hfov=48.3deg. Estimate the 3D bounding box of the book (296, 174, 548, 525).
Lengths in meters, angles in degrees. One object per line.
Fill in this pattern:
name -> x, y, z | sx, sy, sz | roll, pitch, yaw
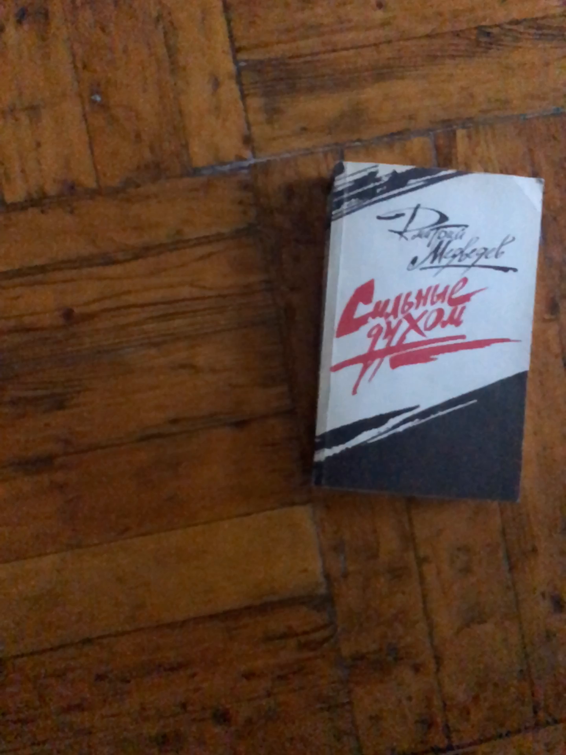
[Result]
book -> 0.088, -0.016, 0.423 | 0.140, 0.050, 0.210 | 5, 91, -3
